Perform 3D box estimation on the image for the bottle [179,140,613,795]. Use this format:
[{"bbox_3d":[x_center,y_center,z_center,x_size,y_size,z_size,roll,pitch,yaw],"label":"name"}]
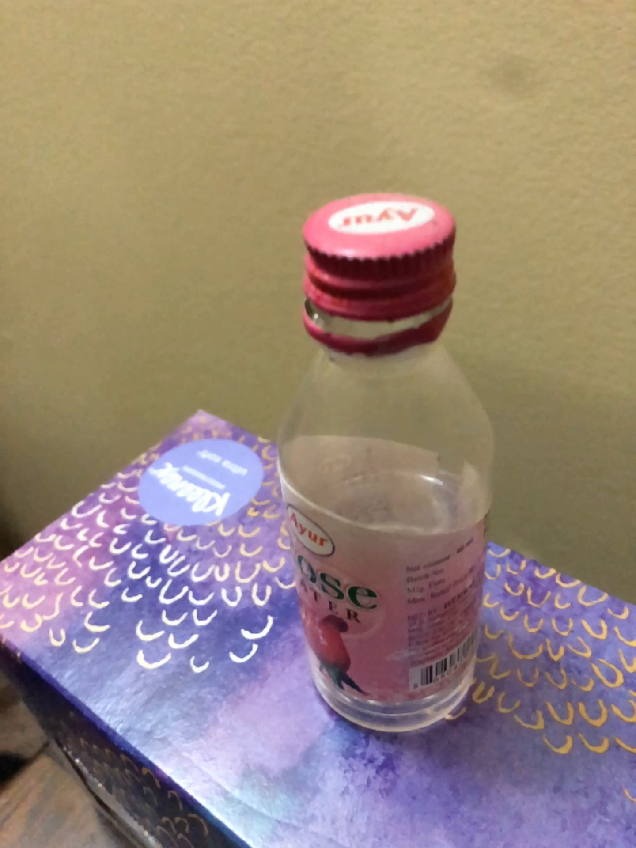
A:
[{"bbox_3d":[0.012,0.011,0.124,0.040,0.100,0.040,-3,37,2],"label":"bottle"}]
